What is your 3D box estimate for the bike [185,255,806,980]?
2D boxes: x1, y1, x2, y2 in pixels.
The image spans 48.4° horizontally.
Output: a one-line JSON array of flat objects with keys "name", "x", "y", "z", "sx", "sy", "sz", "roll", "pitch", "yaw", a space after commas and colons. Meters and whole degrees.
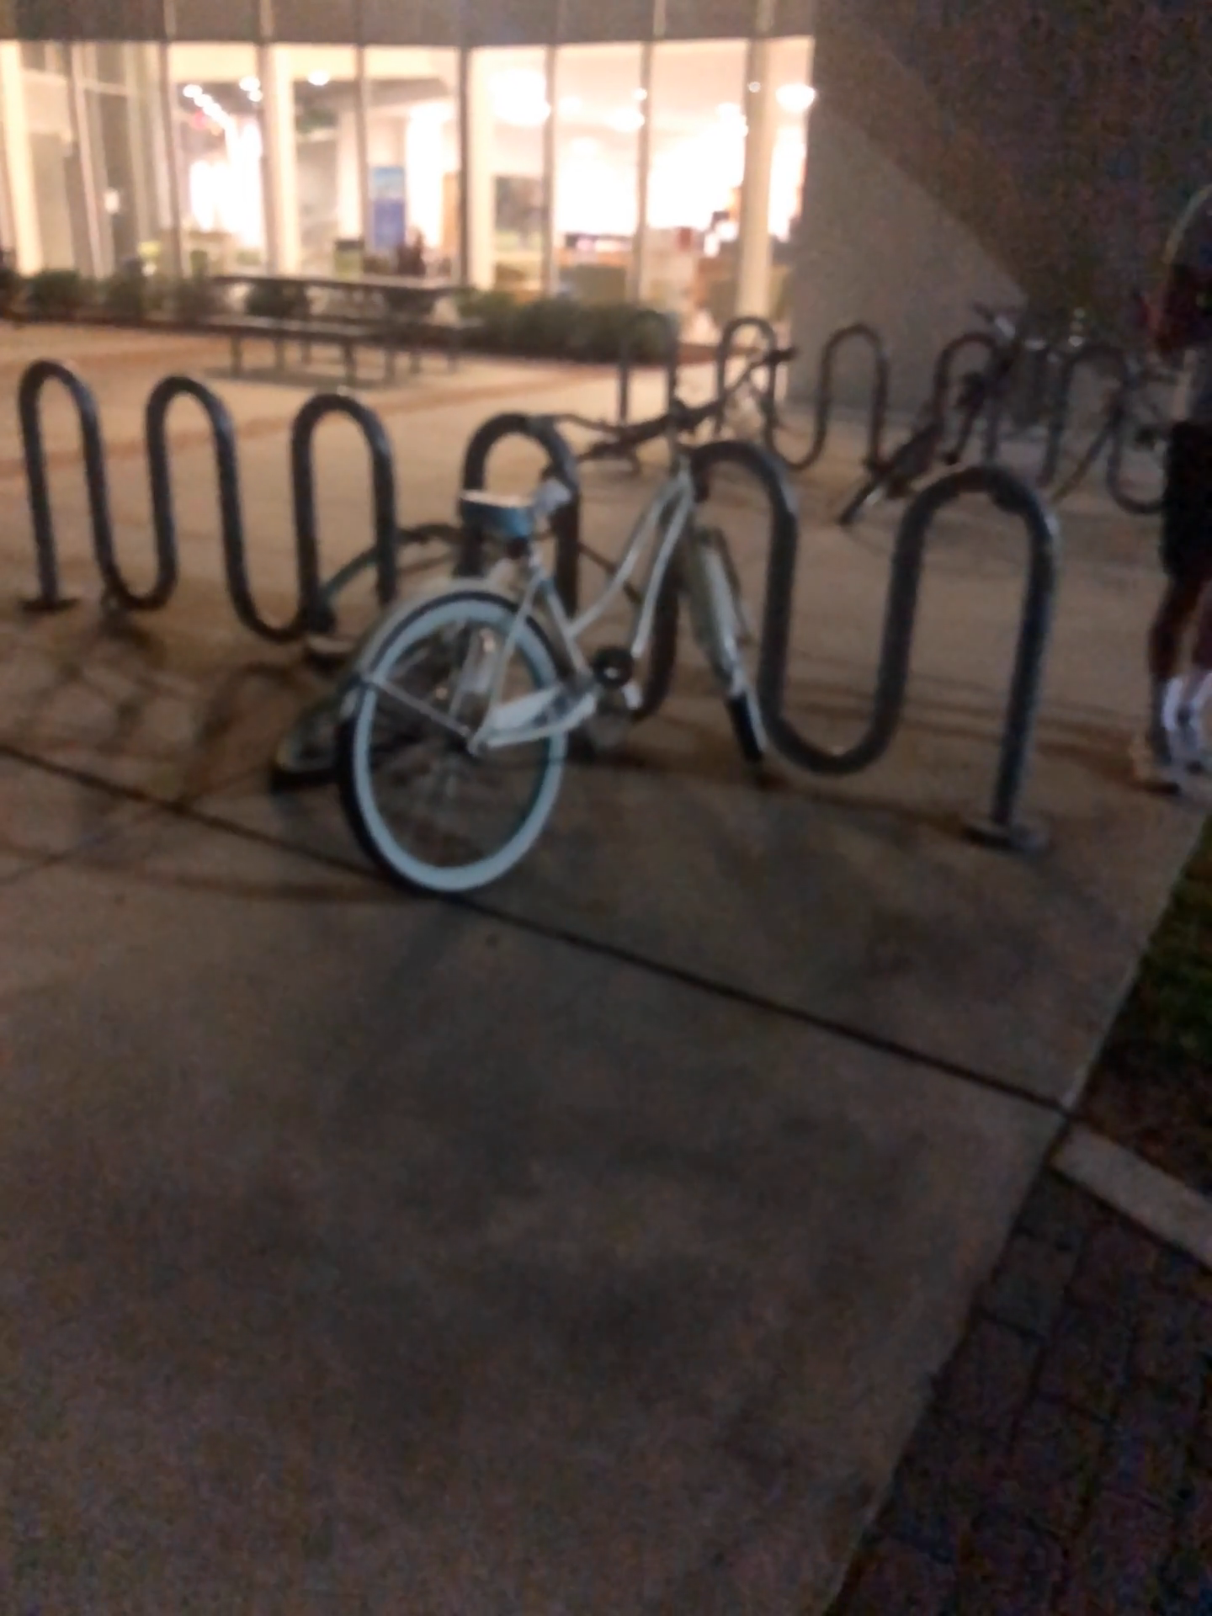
[{"name": "bike", "x": -0.167, "y": -0.642, "z": 3.258, "sx": 0.740, "sy": 1.095, "sz": 1.687, "roll": 13, "pitch": 29, "yaw": 26}]
